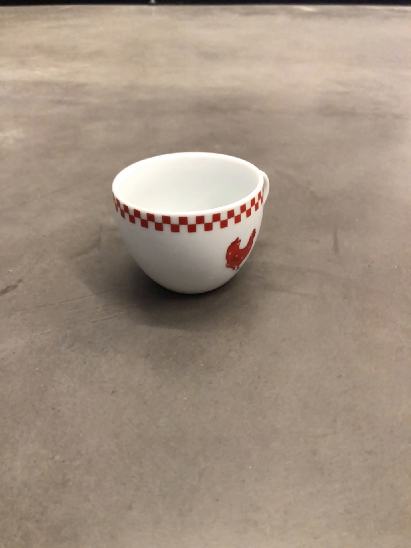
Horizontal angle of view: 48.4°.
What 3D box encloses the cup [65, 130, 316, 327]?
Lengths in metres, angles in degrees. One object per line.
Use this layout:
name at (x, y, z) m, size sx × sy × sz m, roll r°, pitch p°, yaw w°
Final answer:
cup at (-0.006, -0.037, 0.273) m, size 0.111 × 0.058 × 0.089 m, roll -29°, pitch 40°, yaw -34°
